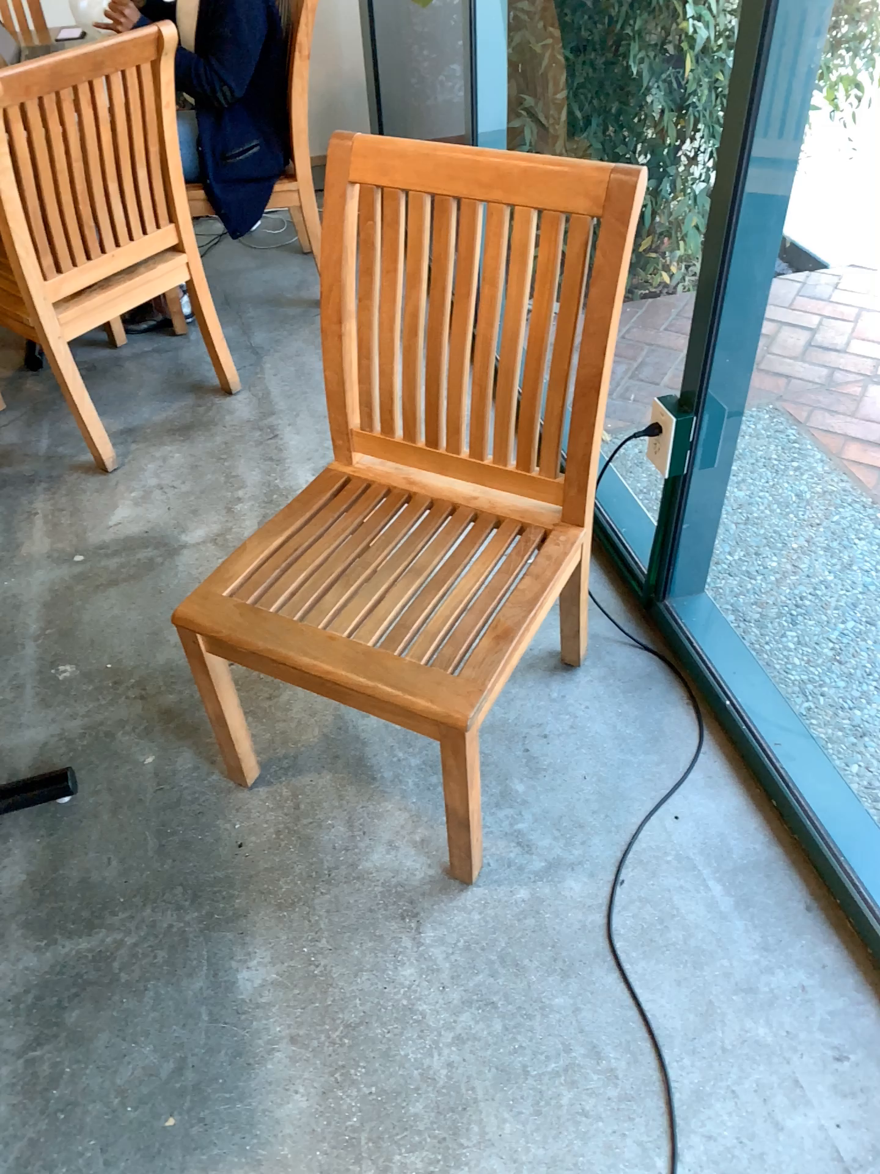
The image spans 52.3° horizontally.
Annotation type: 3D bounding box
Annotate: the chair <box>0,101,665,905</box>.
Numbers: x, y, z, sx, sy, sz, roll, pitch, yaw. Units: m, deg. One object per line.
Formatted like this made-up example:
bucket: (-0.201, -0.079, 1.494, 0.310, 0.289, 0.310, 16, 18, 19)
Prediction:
chair: (-0.073, -0.116, 1.346, 0.531, 0.915, 0.612, 18, 47, 21)
